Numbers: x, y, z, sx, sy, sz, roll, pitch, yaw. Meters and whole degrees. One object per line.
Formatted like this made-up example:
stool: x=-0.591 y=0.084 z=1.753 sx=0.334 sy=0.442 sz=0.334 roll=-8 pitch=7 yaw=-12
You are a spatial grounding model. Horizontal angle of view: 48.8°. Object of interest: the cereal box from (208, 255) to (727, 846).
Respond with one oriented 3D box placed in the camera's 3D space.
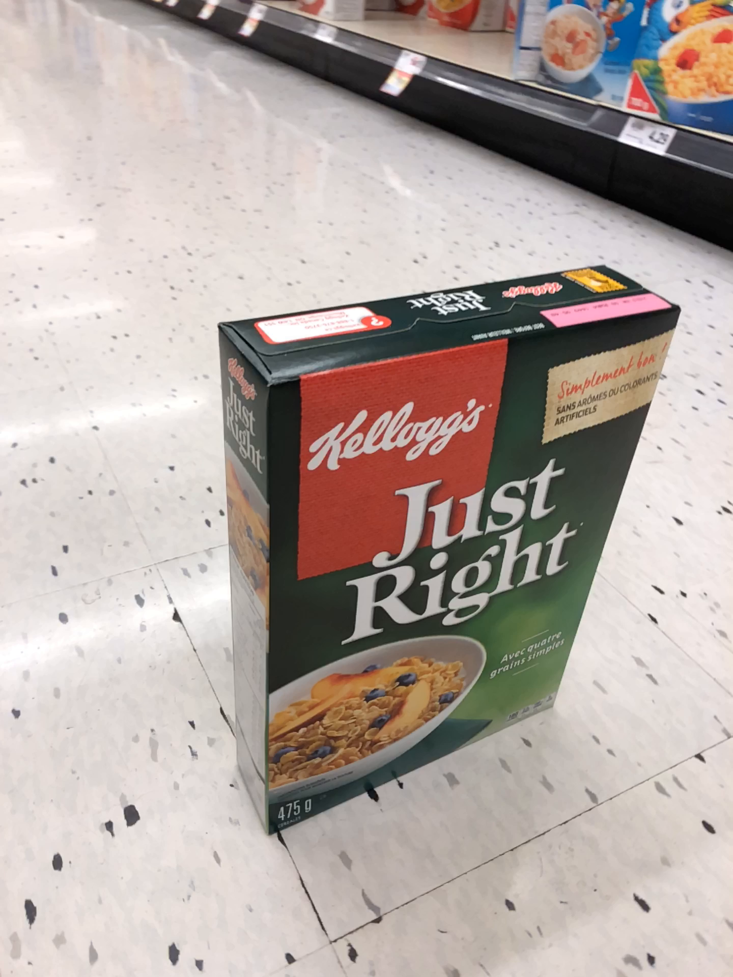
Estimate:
cereal box: x=0.039 y=0.037 z=0.395 sx=0.210 sy=0.268 sz=0.050 roll=-14 pitch=40 yaw=-24
